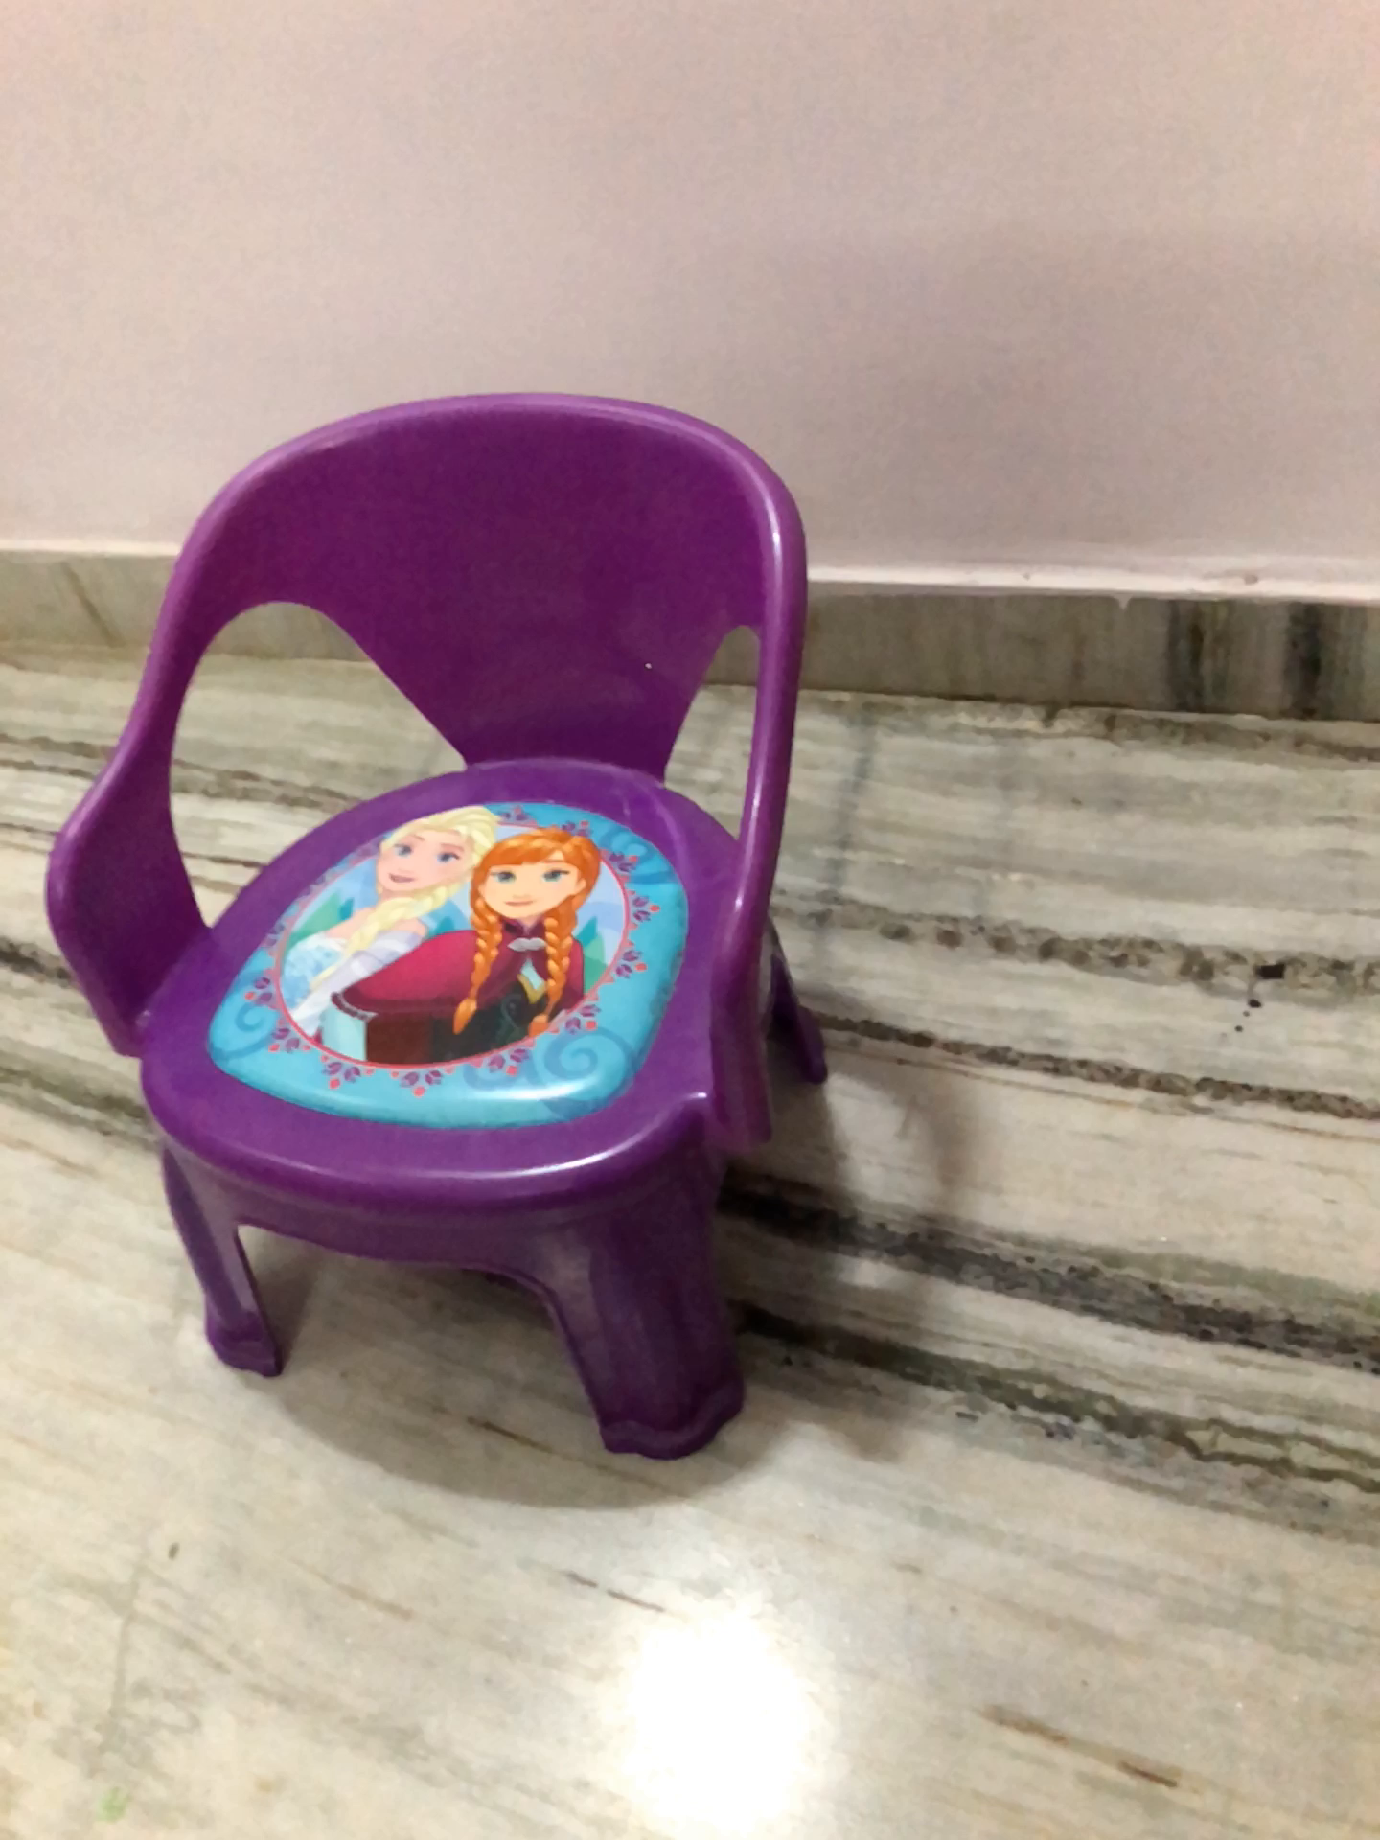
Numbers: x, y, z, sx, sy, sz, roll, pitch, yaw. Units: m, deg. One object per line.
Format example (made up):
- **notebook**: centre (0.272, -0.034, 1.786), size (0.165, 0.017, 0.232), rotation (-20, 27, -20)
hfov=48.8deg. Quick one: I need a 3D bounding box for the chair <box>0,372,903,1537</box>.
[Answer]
- **chair**: centre (-0.121, -0.010, 0.741), size (0.350, 0.348, 0.393), rotation (8, 46, 19)
